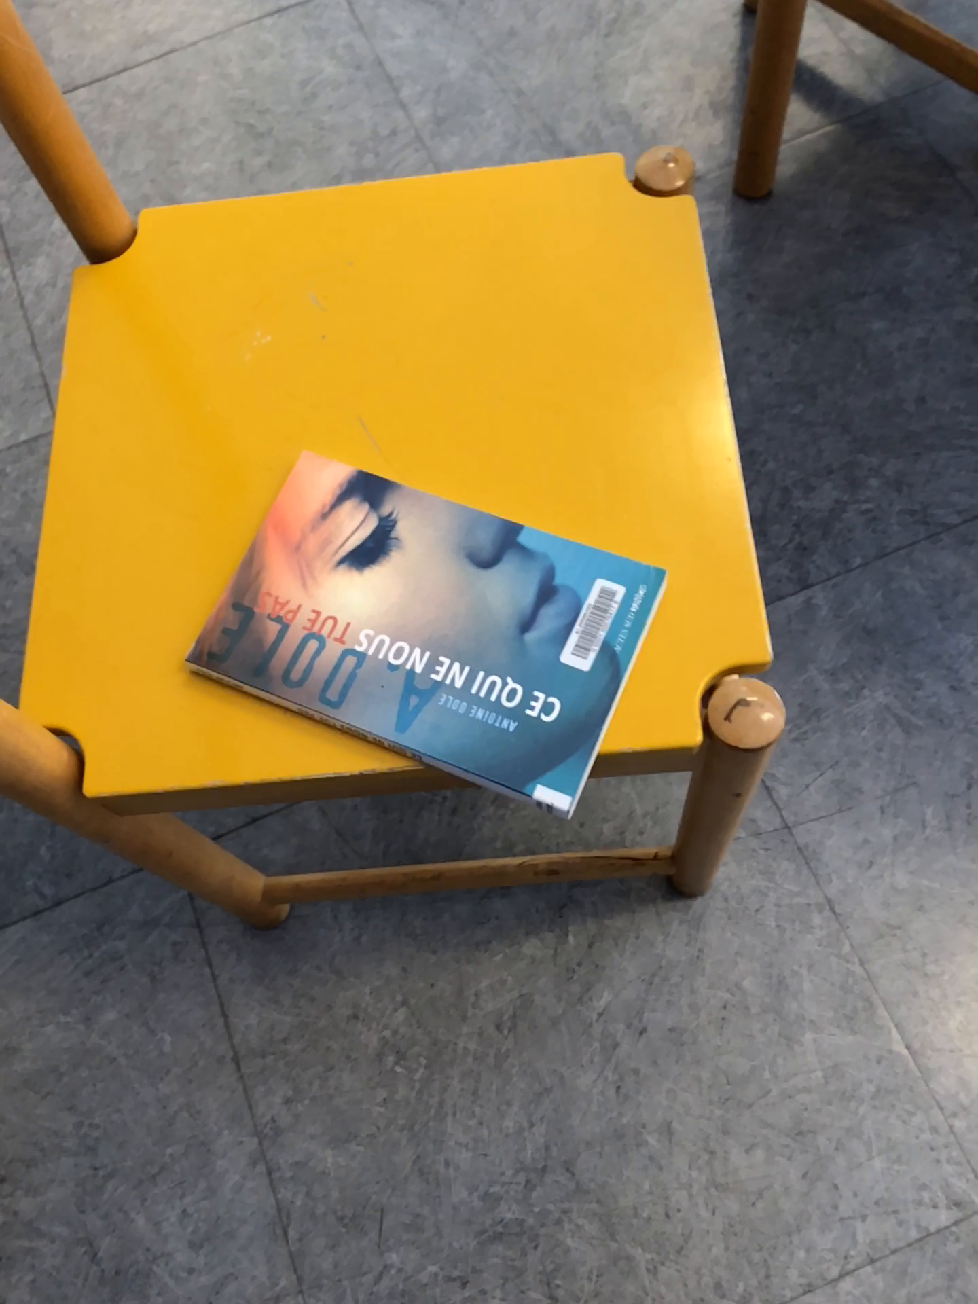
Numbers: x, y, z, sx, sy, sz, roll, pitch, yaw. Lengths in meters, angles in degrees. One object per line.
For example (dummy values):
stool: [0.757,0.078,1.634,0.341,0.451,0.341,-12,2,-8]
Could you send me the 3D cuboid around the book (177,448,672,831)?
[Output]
book: [-0.032,-0.014,0.547,0.212,0.016,0.140,20,70,14]
